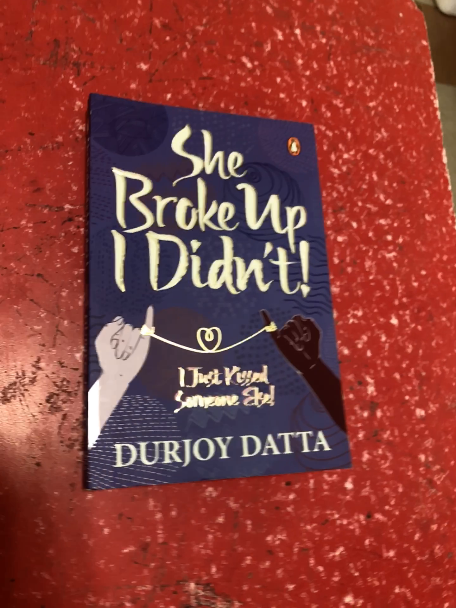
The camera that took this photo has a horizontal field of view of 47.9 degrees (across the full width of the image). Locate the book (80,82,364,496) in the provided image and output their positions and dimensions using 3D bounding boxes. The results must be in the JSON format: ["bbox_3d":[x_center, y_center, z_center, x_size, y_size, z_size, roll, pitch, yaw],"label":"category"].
[{"bbox_3d":[-0.007,-0.009,0.268,0.130,0.040,0.190,2,74,-22],"label":"book"}]
